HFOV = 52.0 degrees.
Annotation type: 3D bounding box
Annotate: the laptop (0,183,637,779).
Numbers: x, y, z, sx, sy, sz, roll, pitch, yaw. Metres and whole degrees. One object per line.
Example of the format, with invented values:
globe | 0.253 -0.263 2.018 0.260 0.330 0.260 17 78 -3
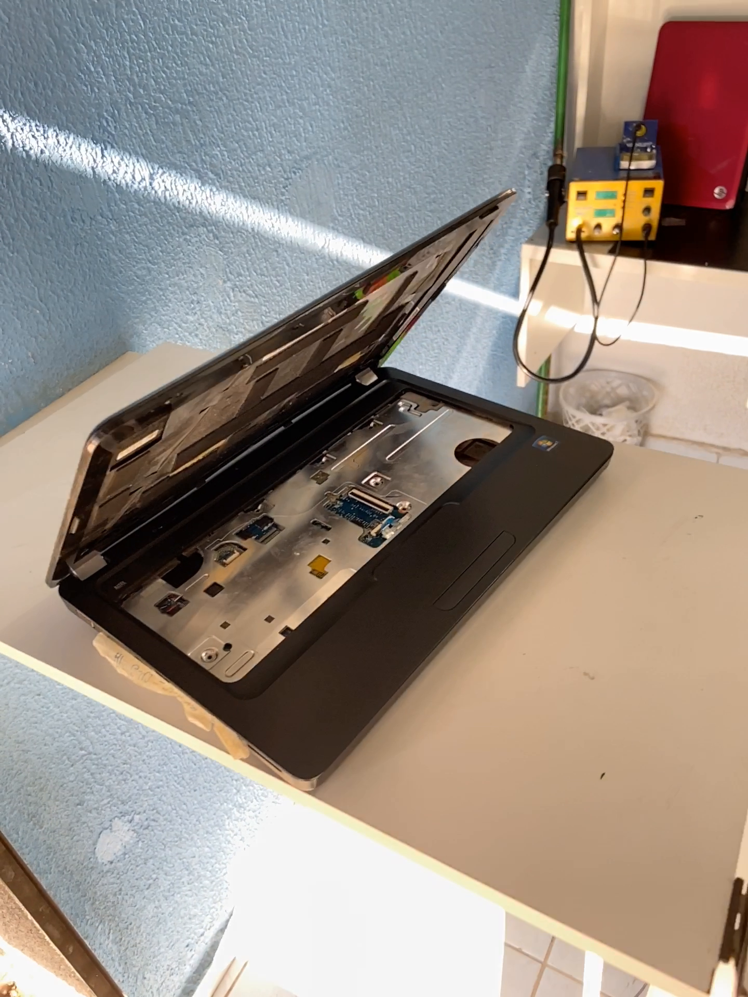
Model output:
laptop | -0.022 -0.053 0.470 0.222 0.153 0.328 23 46 32
